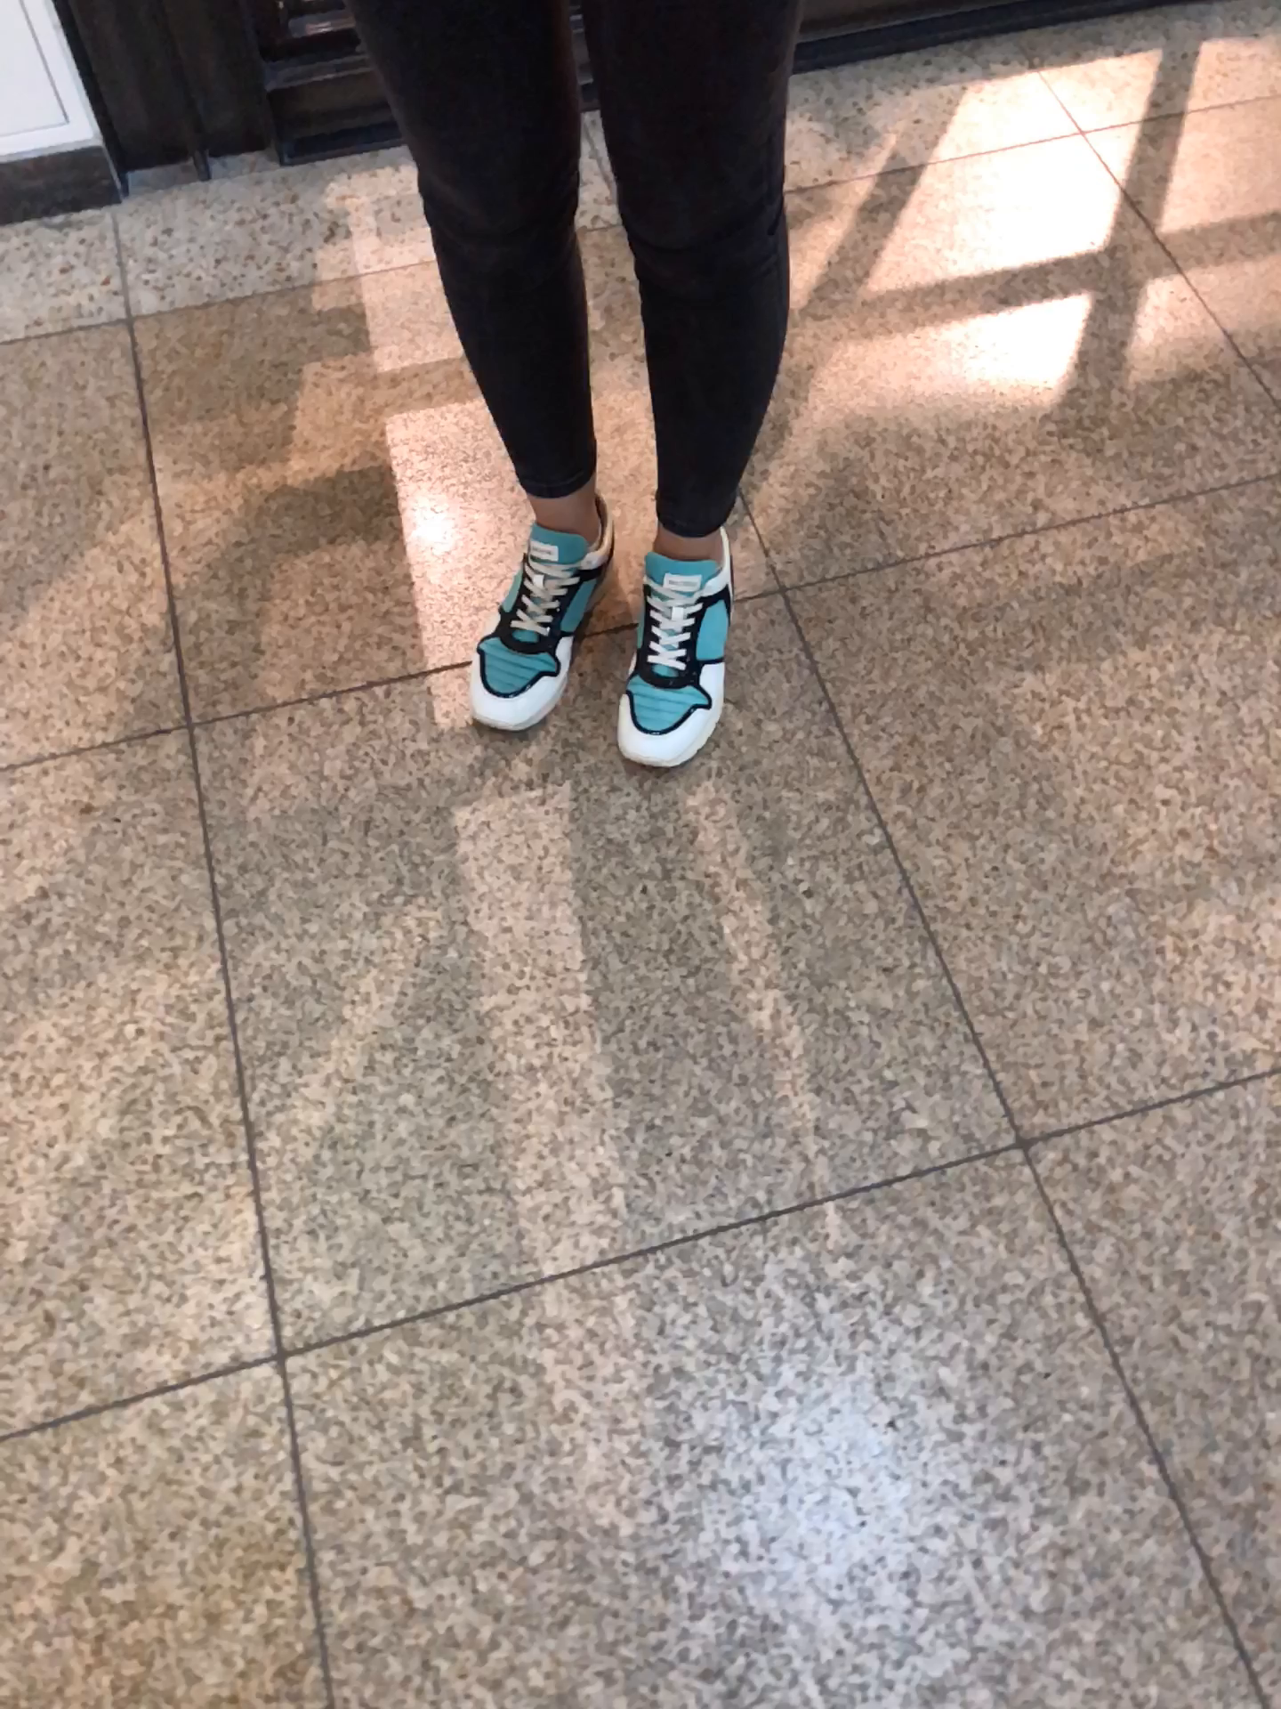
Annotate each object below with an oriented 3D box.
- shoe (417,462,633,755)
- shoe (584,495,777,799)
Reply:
[{"bbox_3d":[-0.099,-0.227,1.282,0.107,0.100,0.240,16,61,11],"label":"shoe"},{"bbox_3d":[0.040,-0.191,1.272,0.110,0.100,0.250,13,61,9],"label":"shoe"}]
